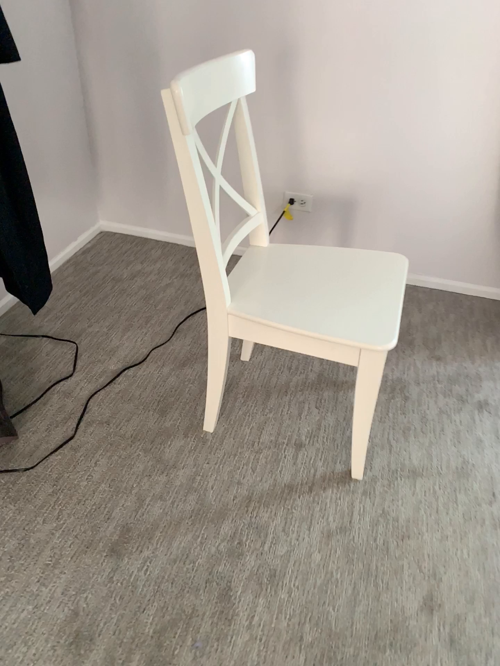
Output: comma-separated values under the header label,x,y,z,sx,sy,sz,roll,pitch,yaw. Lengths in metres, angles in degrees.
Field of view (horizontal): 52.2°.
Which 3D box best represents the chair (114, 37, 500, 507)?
label,x,y,z,sx,sy,sz,roll,pitch,yaw
chair,0.147,-0.171,1.150,0.571,0.765,0.613,12,37,12
